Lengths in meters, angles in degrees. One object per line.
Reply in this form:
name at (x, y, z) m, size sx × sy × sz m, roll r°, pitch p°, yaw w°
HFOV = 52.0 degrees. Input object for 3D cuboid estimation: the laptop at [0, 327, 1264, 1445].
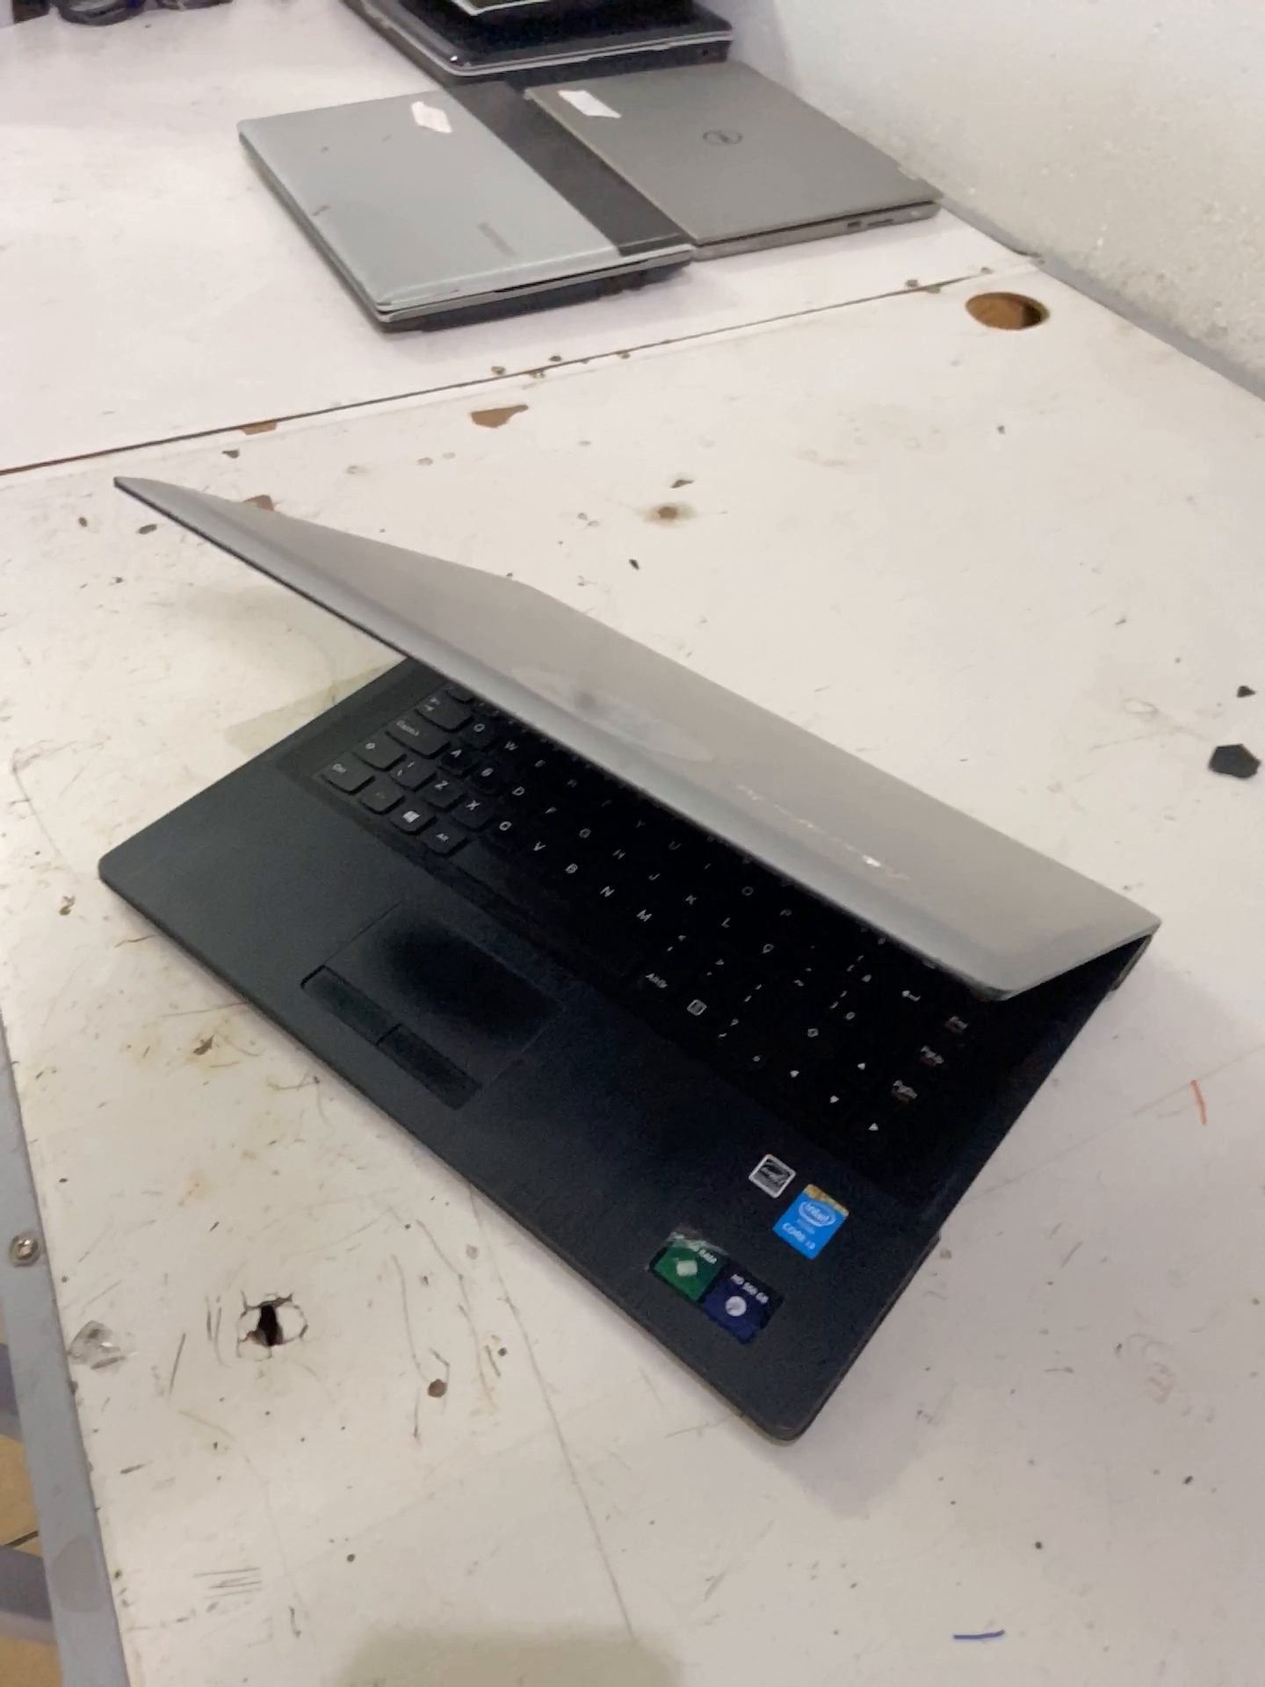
laptop at (-0.007, -0.023, 0.470) m, size 0.344 × 0.148 × 0.246 m, roll 31°, pitch 54°, yaw 27°
